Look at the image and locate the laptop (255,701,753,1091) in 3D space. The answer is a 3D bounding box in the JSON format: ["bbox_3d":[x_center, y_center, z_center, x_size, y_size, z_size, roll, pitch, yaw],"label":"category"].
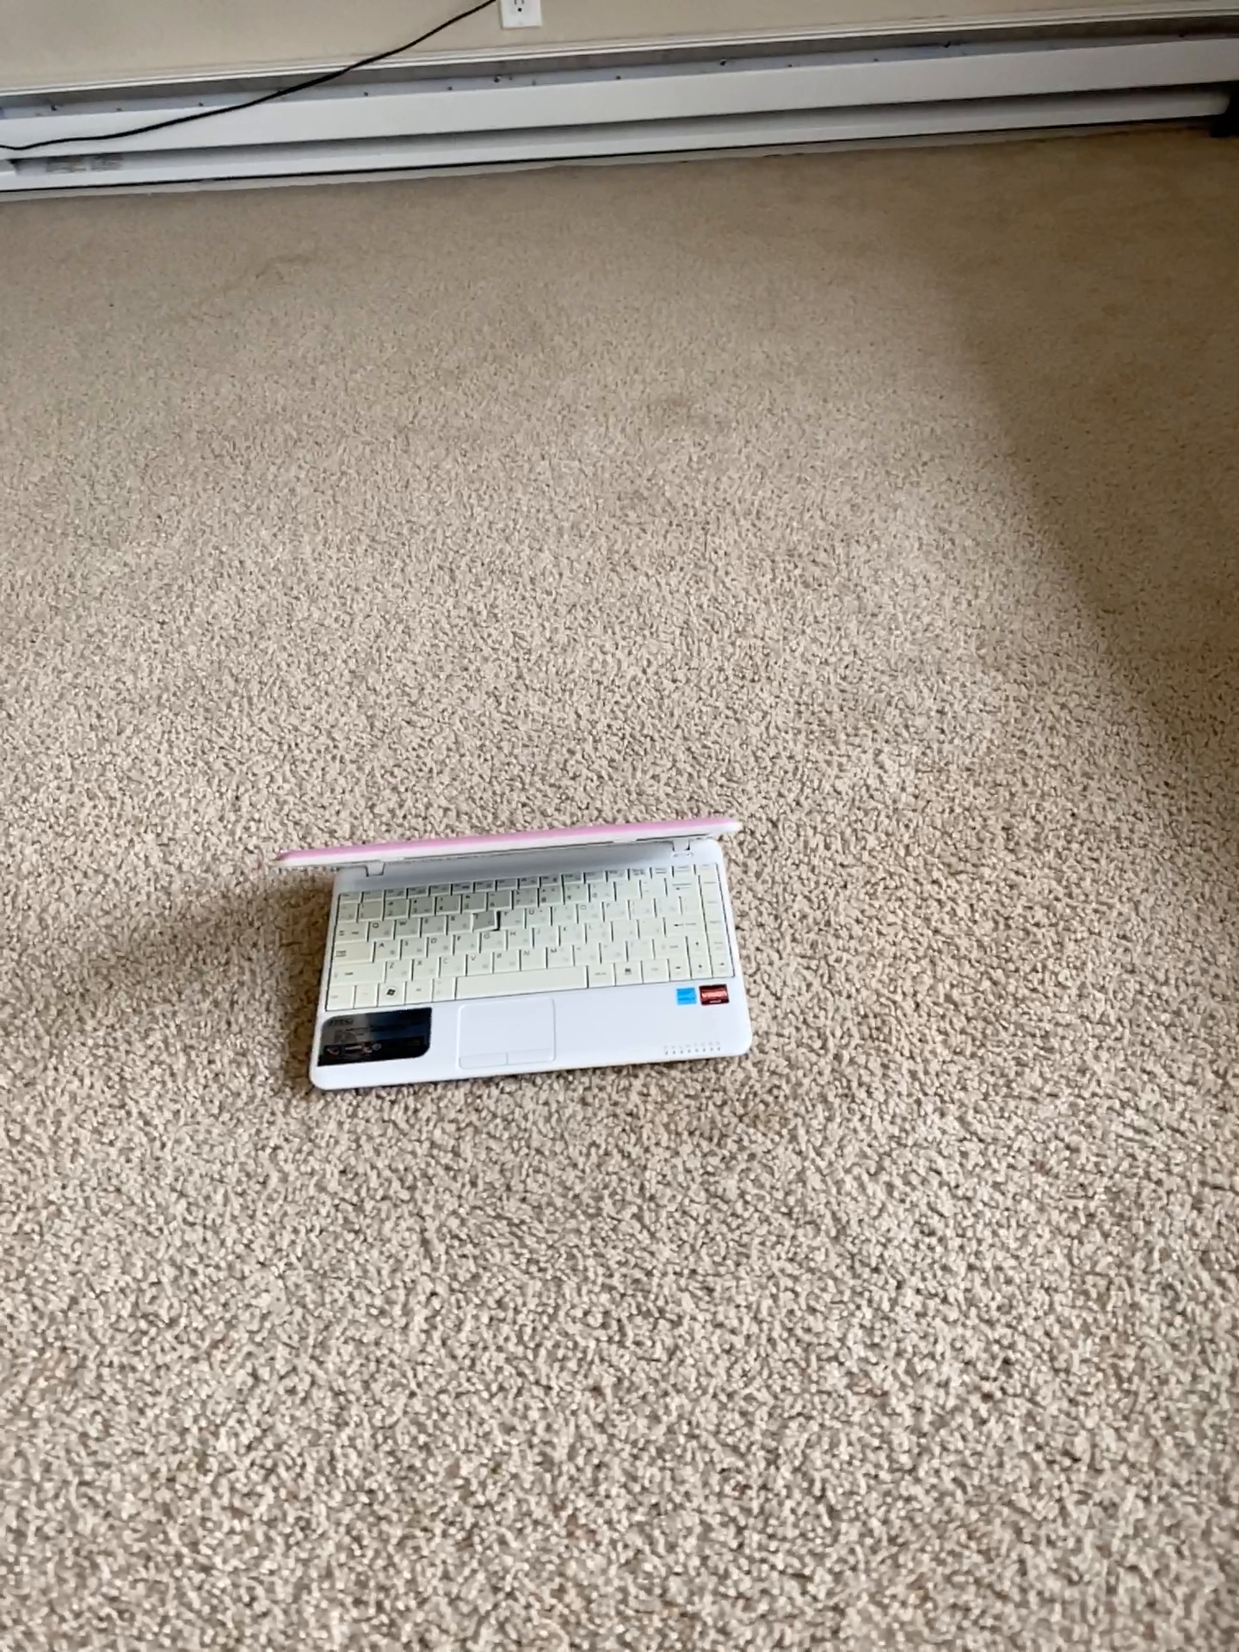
[{"bbox_3d":[-0.071,0.044,0.851,0.296,0.122,0.198,-5,45,1],"label":"laptop"}]
